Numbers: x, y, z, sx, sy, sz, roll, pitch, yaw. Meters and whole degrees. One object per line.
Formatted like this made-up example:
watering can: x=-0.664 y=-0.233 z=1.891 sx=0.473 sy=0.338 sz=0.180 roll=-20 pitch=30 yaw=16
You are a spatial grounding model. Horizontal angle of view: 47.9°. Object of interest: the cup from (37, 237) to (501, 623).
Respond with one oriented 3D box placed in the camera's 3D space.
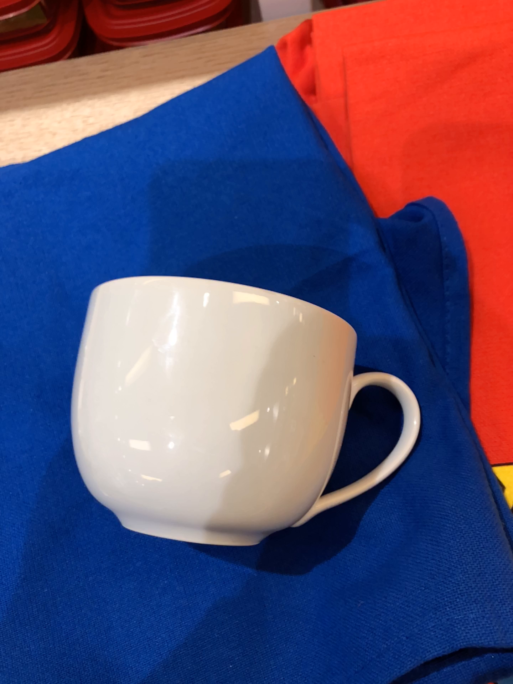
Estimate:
cup: x=0.002 y=0.035 z=0.202 sx=0.130 sy=0.080 sz=0.090 roll=13 pitch=78 yaw=-19
